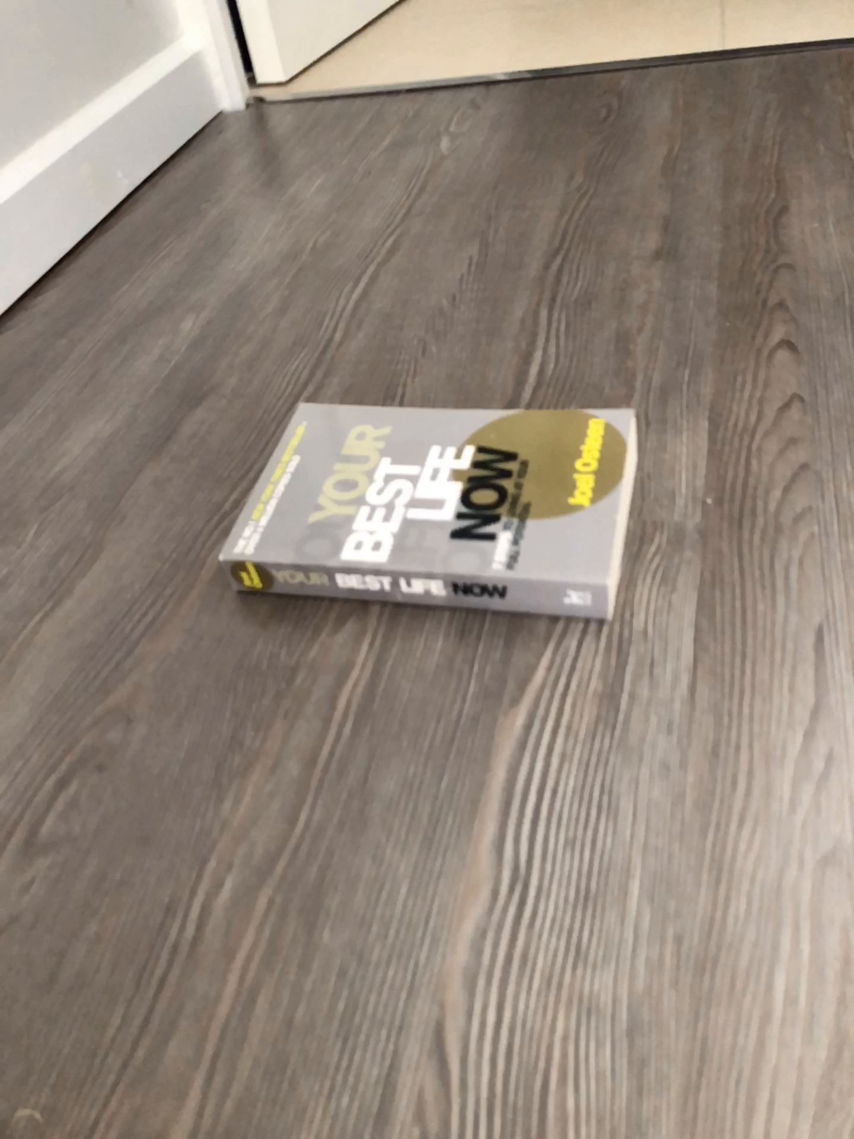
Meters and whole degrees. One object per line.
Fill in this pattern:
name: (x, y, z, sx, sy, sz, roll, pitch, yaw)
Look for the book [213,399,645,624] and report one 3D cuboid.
book: (0.008, -0.039, 0.495, 0.201, 0.030, 0.137, 4, 44, 16)
